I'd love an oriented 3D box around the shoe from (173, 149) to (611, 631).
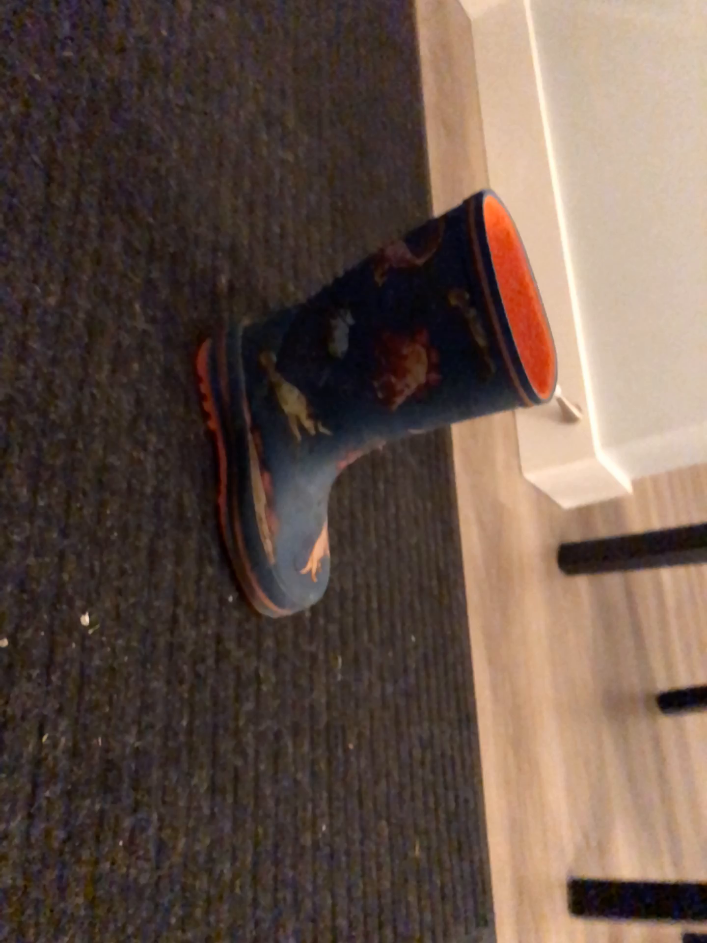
[{"bbox_3d":[0.015,-0.030,0.419,0.080,0.179,0.190,1,75,-60],"label":"shoe"}]
